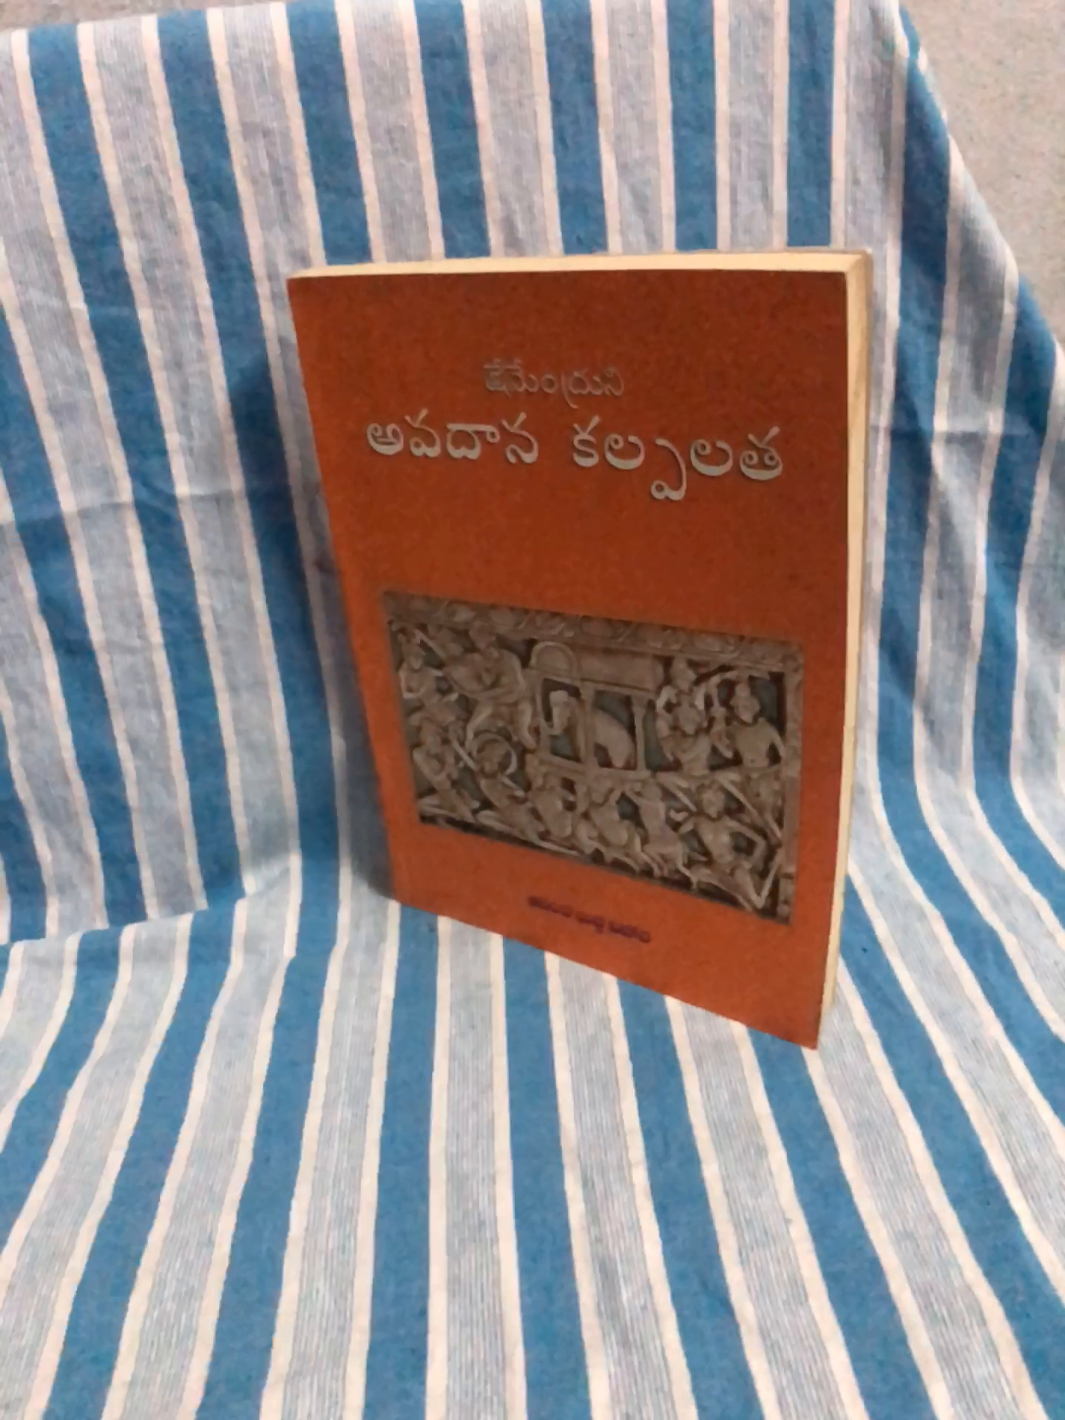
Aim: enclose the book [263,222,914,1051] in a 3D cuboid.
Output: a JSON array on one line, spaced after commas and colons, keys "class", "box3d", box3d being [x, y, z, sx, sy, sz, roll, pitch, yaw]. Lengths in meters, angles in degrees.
[{"class": "book", "box3d": [0.014, -0.022, 0.360, 0.180, 0.229, 0.030, 12, 31, 30]}]
